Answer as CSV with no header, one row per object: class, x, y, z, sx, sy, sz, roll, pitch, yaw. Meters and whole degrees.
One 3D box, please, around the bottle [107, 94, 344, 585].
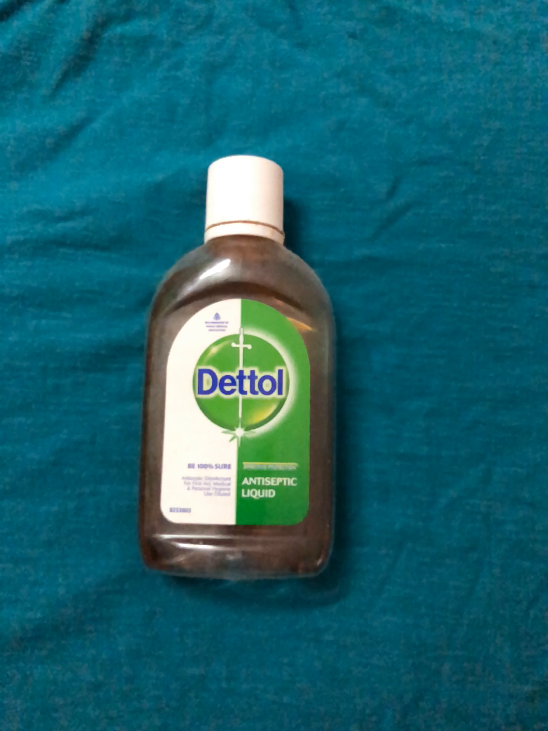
bottle,-0.016,-0.011,0.245,0.080,0.040,0.180,2,81,-4
